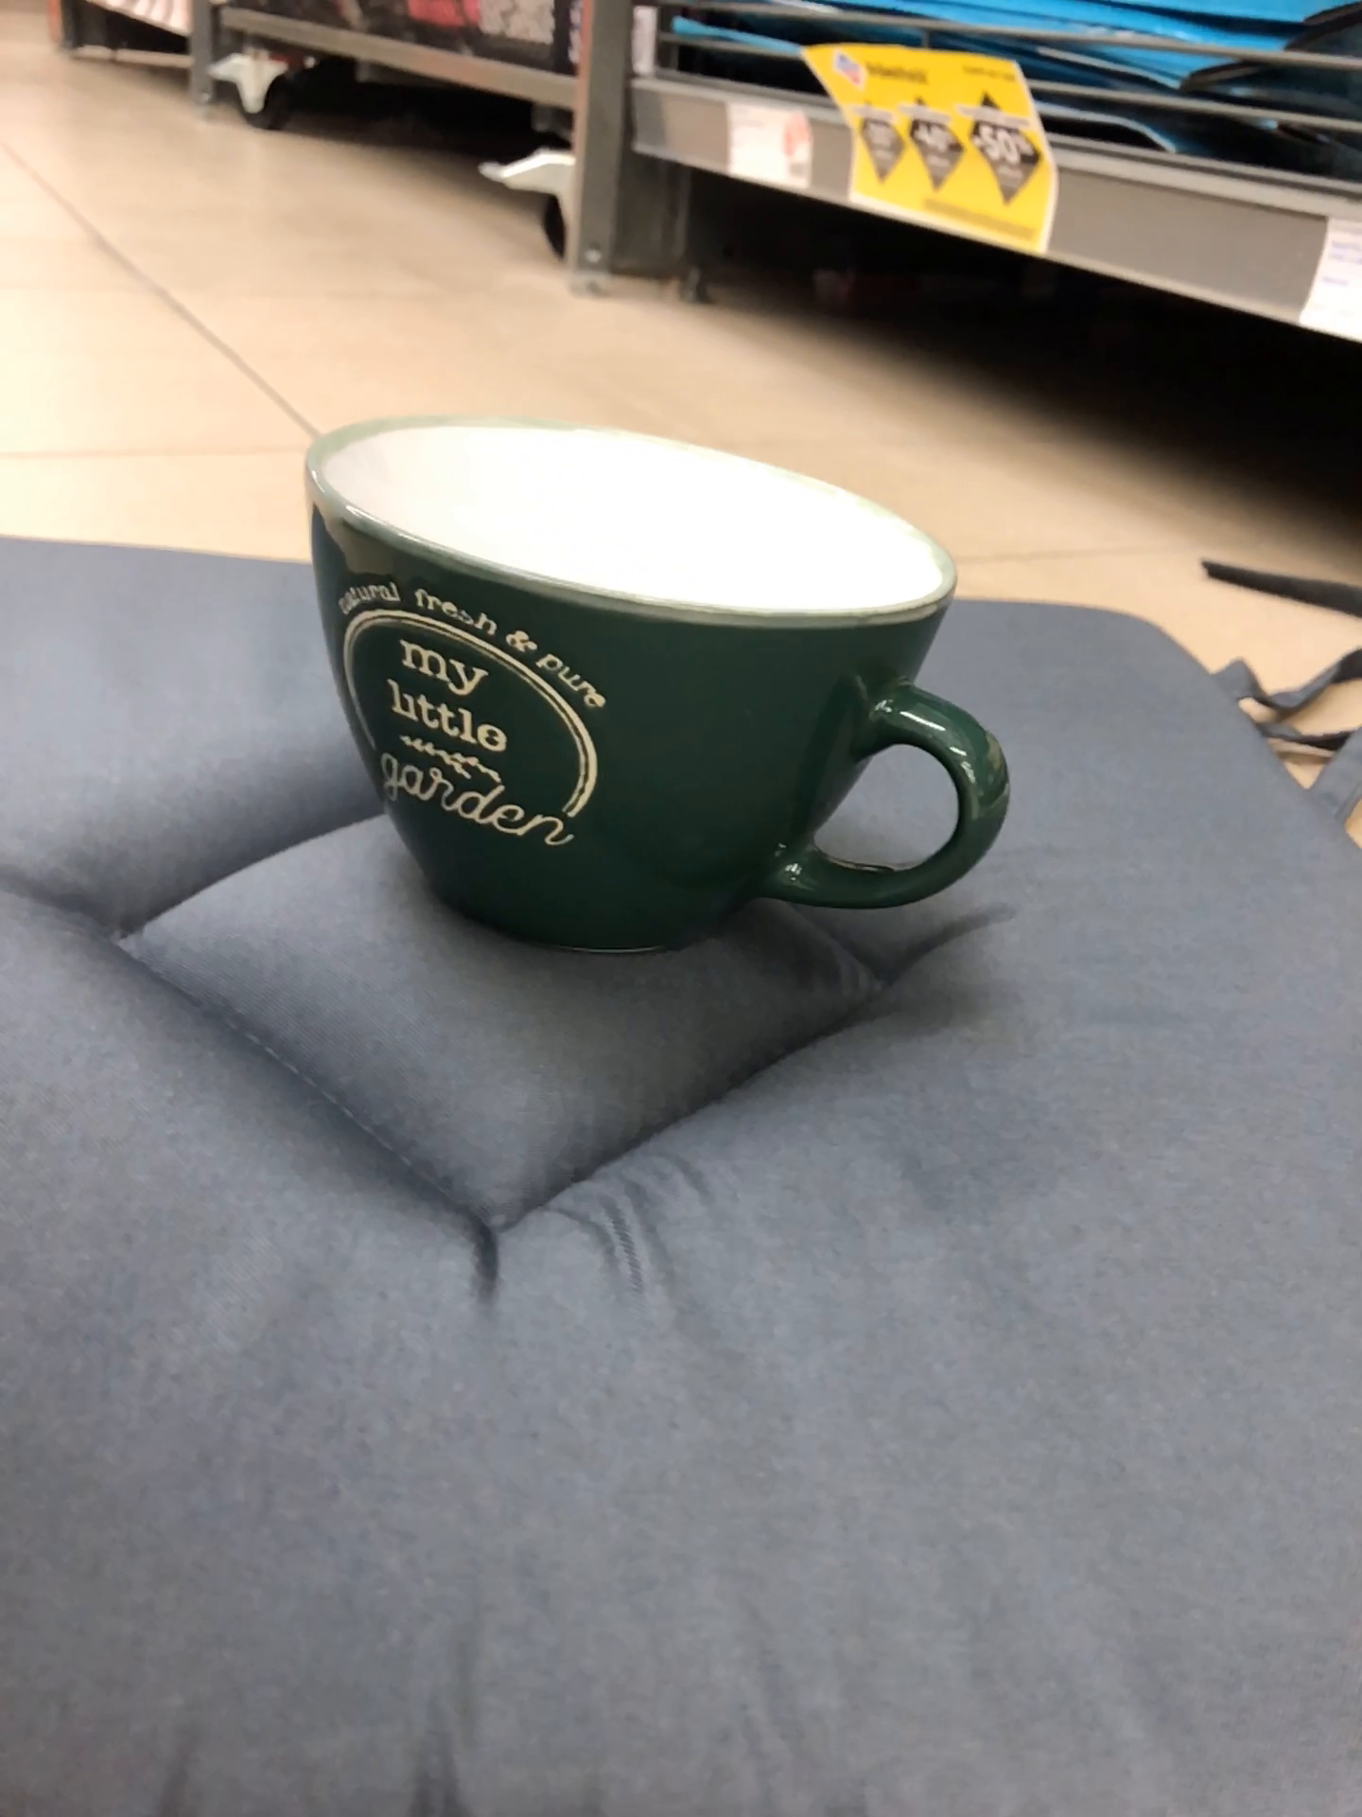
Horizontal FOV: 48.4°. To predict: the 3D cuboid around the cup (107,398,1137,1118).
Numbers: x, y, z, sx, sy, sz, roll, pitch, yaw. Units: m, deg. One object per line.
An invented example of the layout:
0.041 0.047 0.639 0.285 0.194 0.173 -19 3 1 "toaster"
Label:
-0.007 -0.041 0.272 0.130 0.060 0.121 5 29 -3 "cup"
